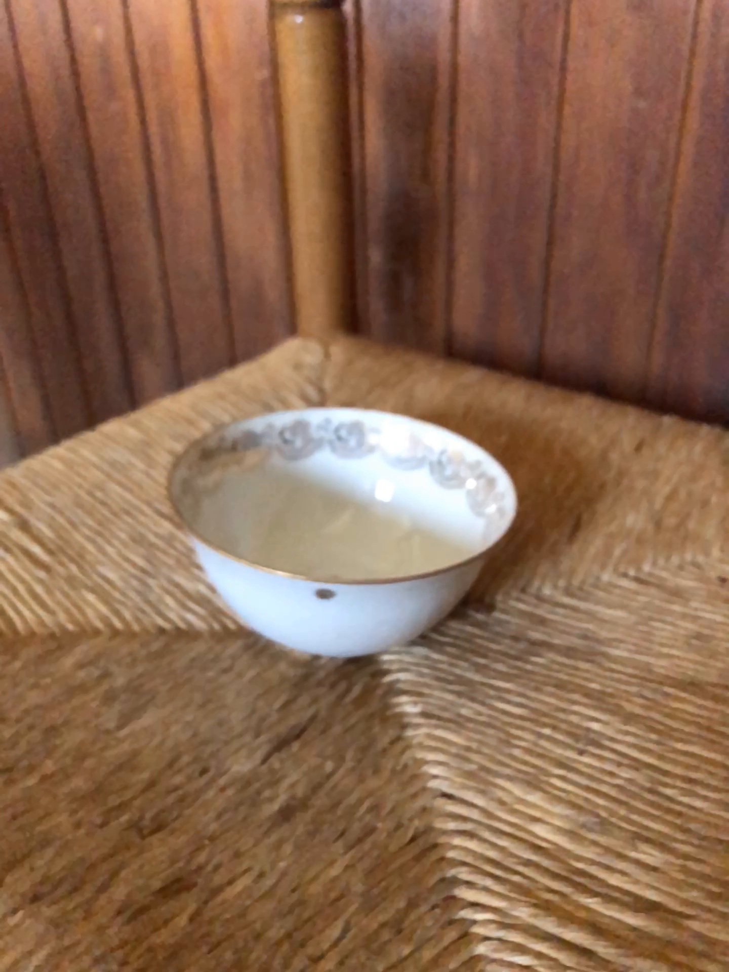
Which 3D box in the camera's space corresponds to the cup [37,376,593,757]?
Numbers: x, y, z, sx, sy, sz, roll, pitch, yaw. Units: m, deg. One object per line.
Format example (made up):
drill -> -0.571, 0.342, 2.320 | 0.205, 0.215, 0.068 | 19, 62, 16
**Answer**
cup -> -0.013, 0.011, 0.292 | 0.130, 0.040, 0.141 | 2, 26, -1
